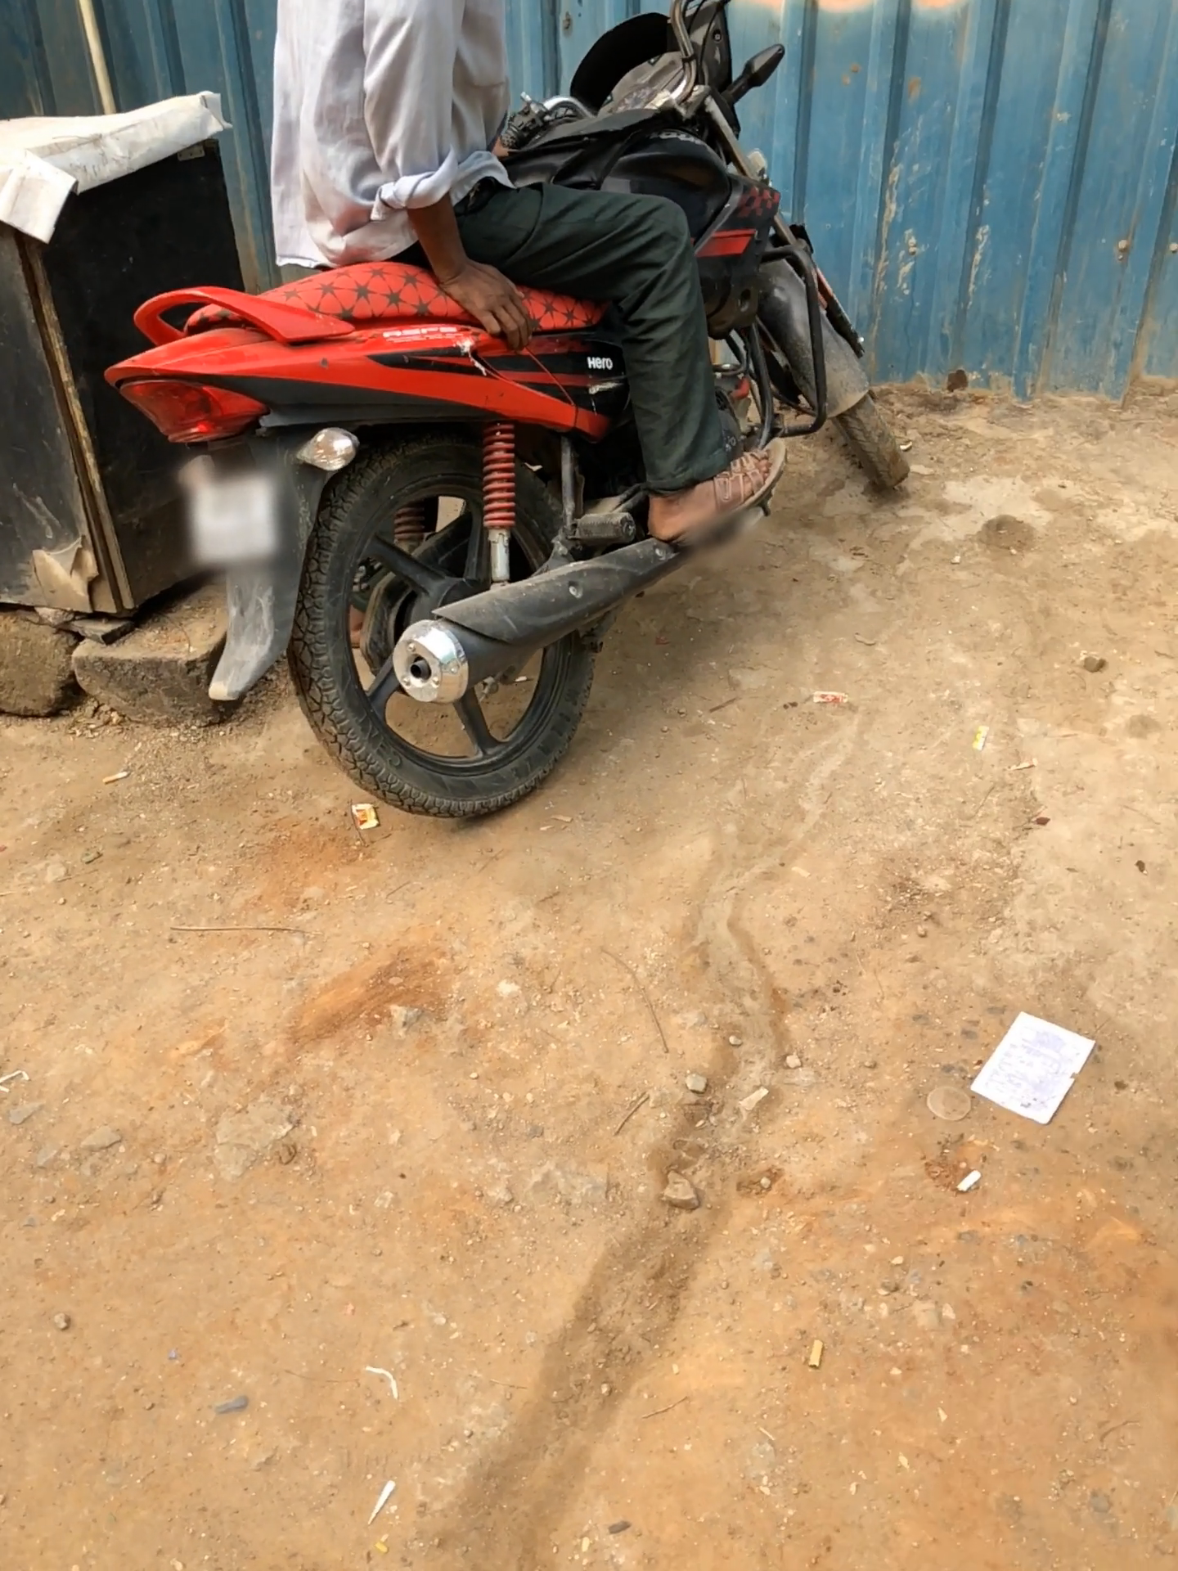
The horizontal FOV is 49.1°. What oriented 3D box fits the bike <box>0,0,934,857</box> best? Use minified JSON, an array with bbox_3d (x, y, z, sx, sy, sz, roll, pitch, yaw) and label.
[{"bbox_3d":[-0.080,-0.980,2.296,0.734,1.129,1.640,18,44,26],"label":"bike"}]
